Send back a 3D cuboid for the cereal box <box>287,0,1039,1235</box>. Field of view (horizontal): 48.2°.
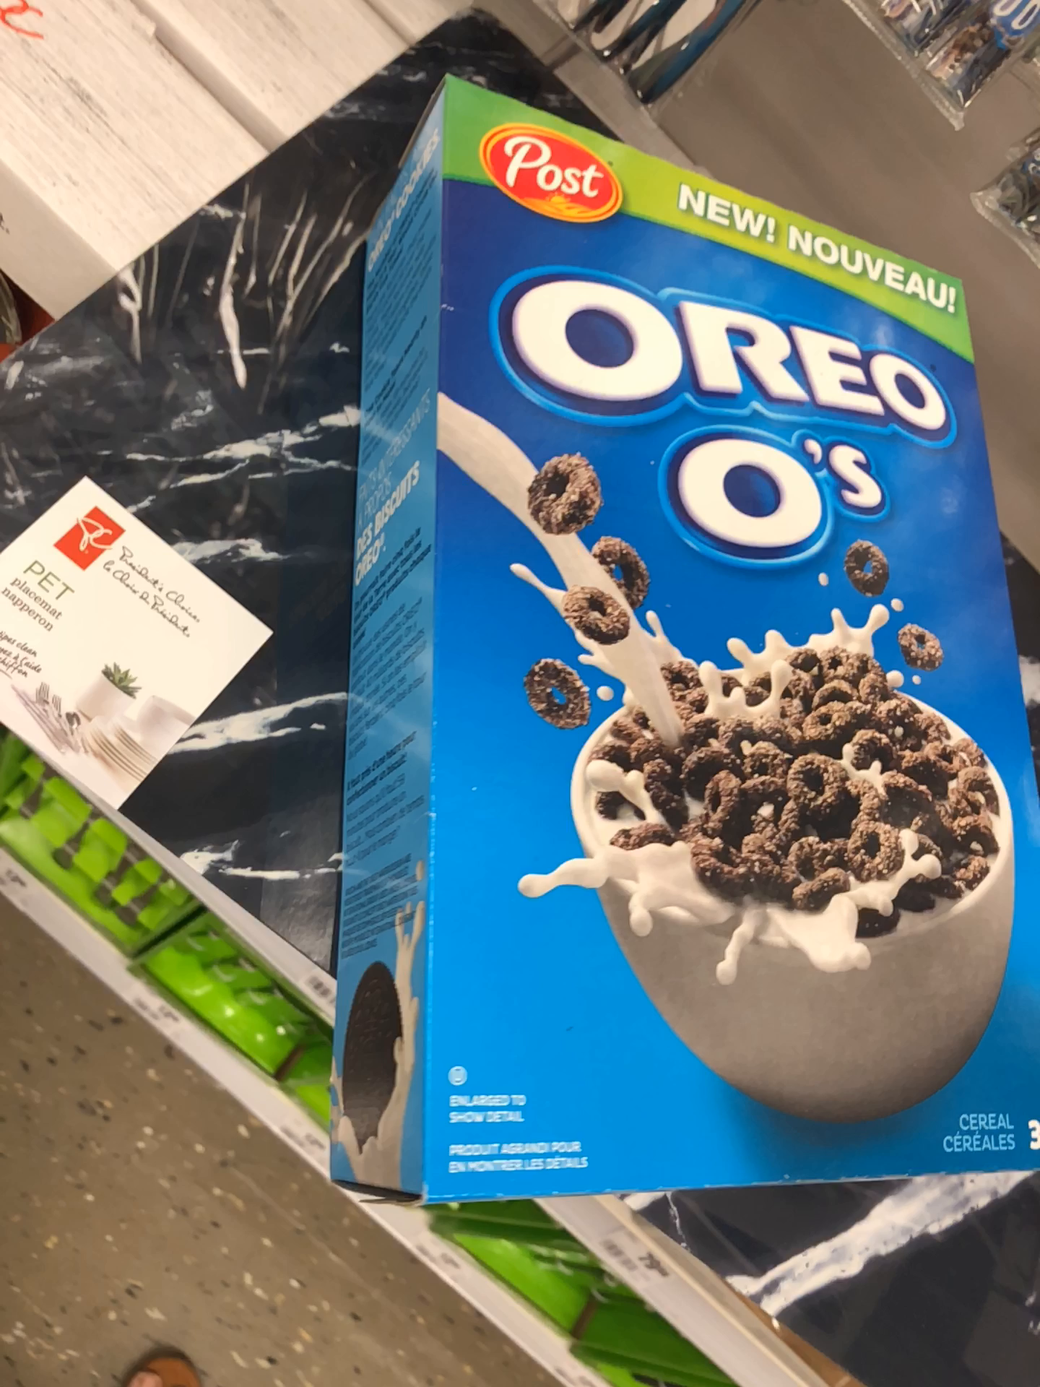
[{"bbox_3d":[0.055,-0.018,0.332,0.211,0.070,0.300,10,67,-26],"label":"cereal box"}]
